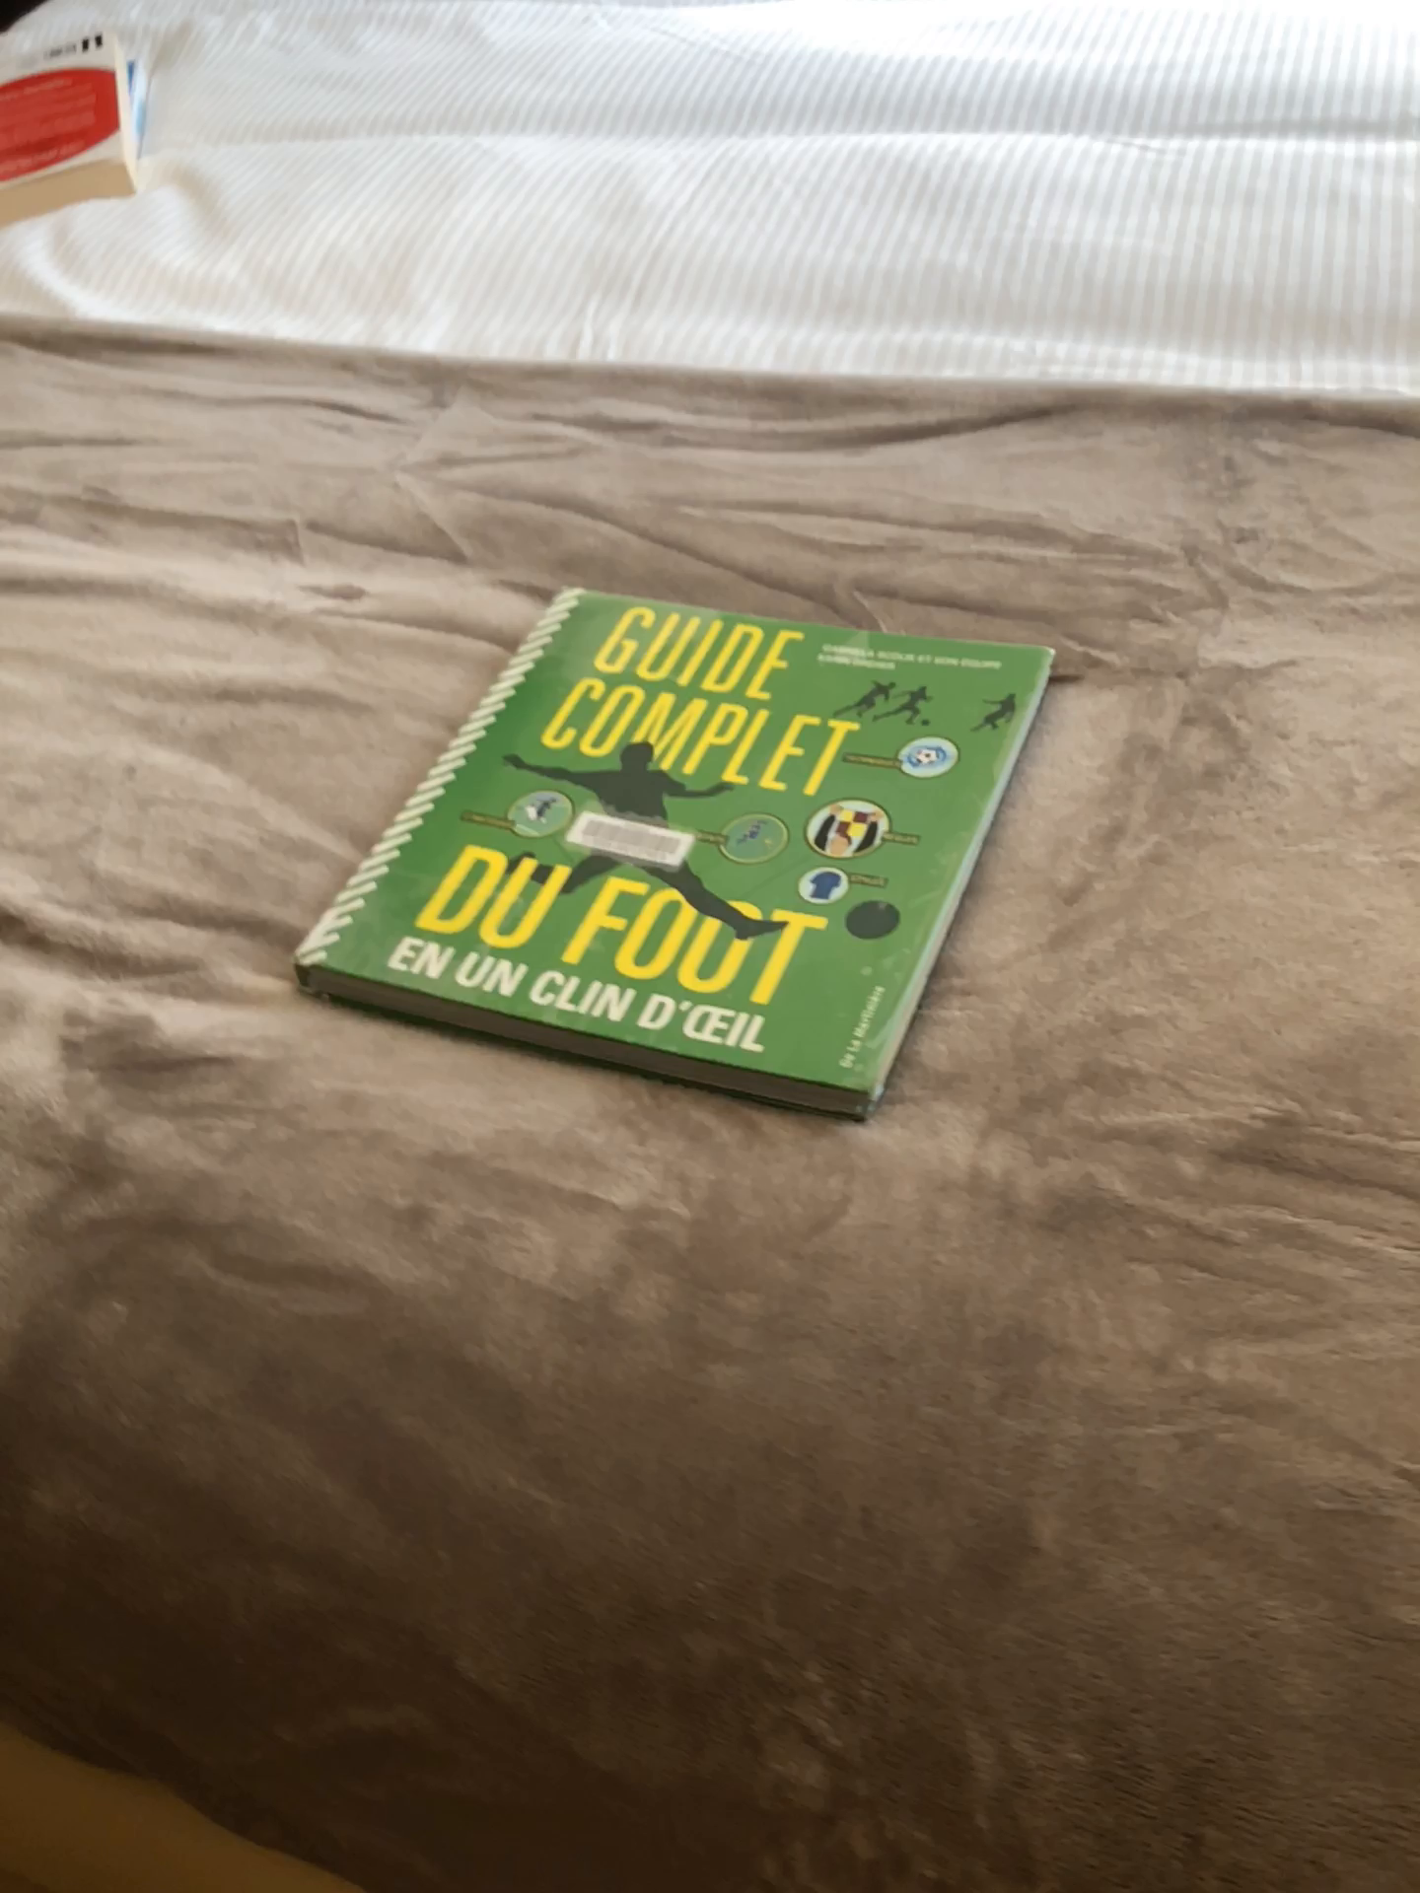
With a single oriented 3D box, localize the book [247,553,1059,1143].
[{"bbox_3d":[-0.012,-0.056,0.588,0.227,0.018,0.239,13,52,19],"label":"book"}]
